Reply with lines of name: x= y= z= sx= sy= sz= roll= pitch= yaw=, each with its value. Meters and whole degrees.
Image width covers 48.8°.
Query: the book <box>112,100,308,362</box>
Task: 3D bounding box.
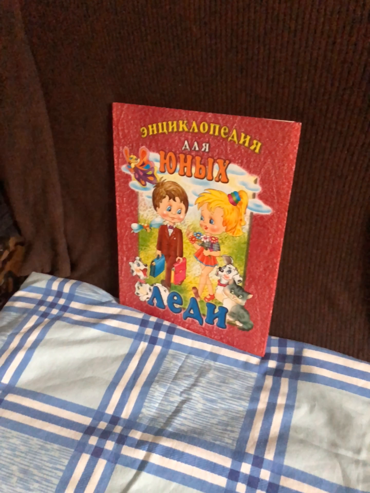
book: x=0.011 y=-0.016 z=0.521 sx=0.230 sy=0.303 sz=0.020 roll=14 pitch=27 yaw=22
